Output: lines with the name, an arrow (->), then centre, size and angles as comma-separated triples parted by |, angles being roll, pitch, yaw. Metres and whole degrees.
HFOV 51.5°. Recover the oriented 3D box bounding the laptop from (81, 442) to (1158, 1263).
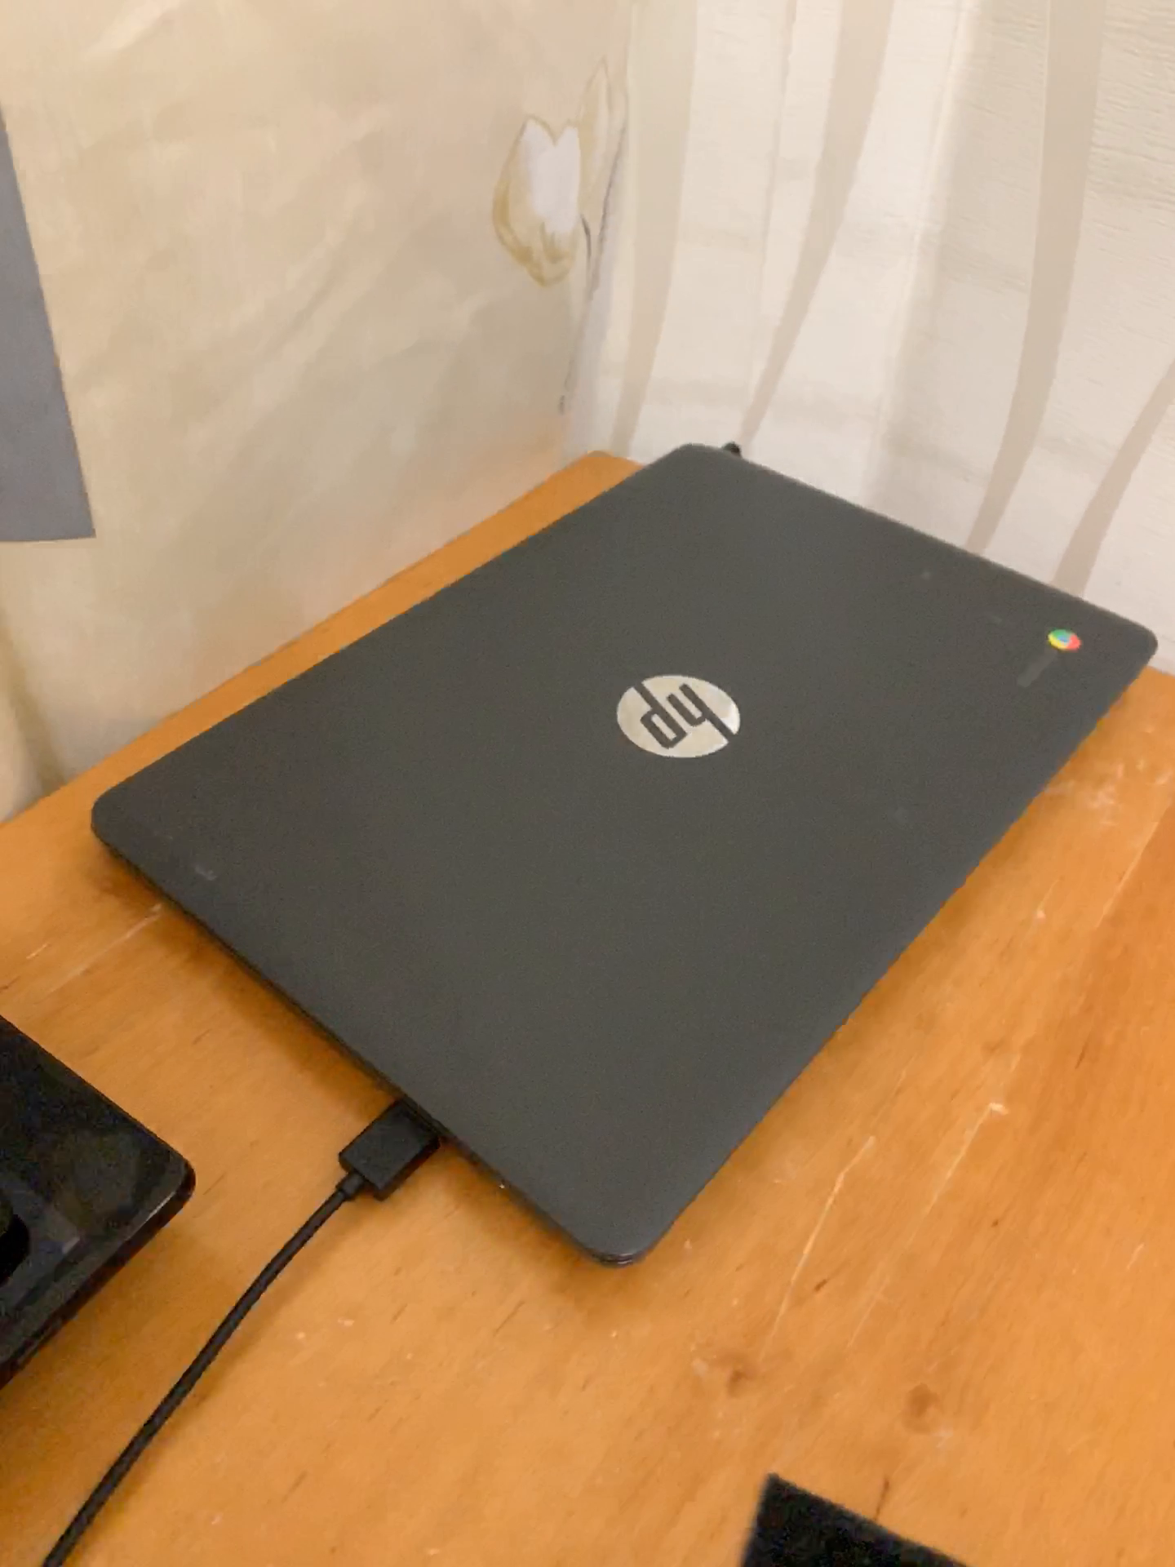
laptop -> 0.024, -0.020, 0.374 | 0.194, 0.002, 0.282 | 31, 52, 28
